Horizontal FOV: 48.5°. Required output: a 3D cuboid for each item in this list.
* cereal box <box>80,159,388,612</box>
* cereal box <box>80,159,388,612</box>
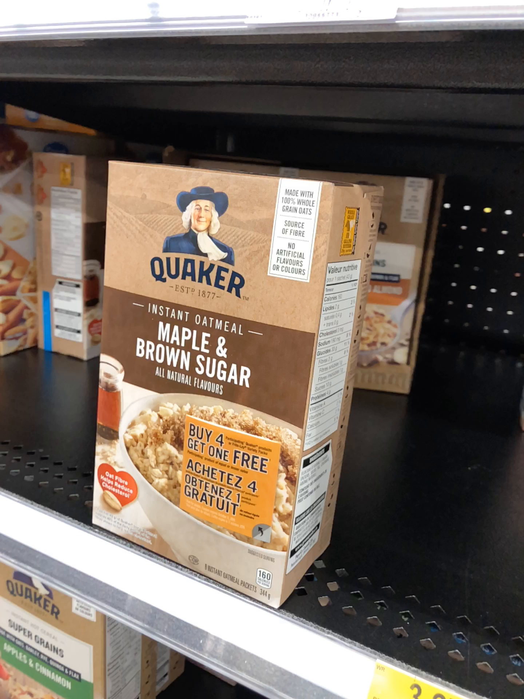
[{"bbox_3d":[-0.022,0.009,0.295,0.130,0.189,0.060,14,17,27],"label":"cereal box"},{"bbox_3d":[-0.022,0.009,0.295,0.130,0.189,0.060,14,17,27],"label":"cereal box"}]
